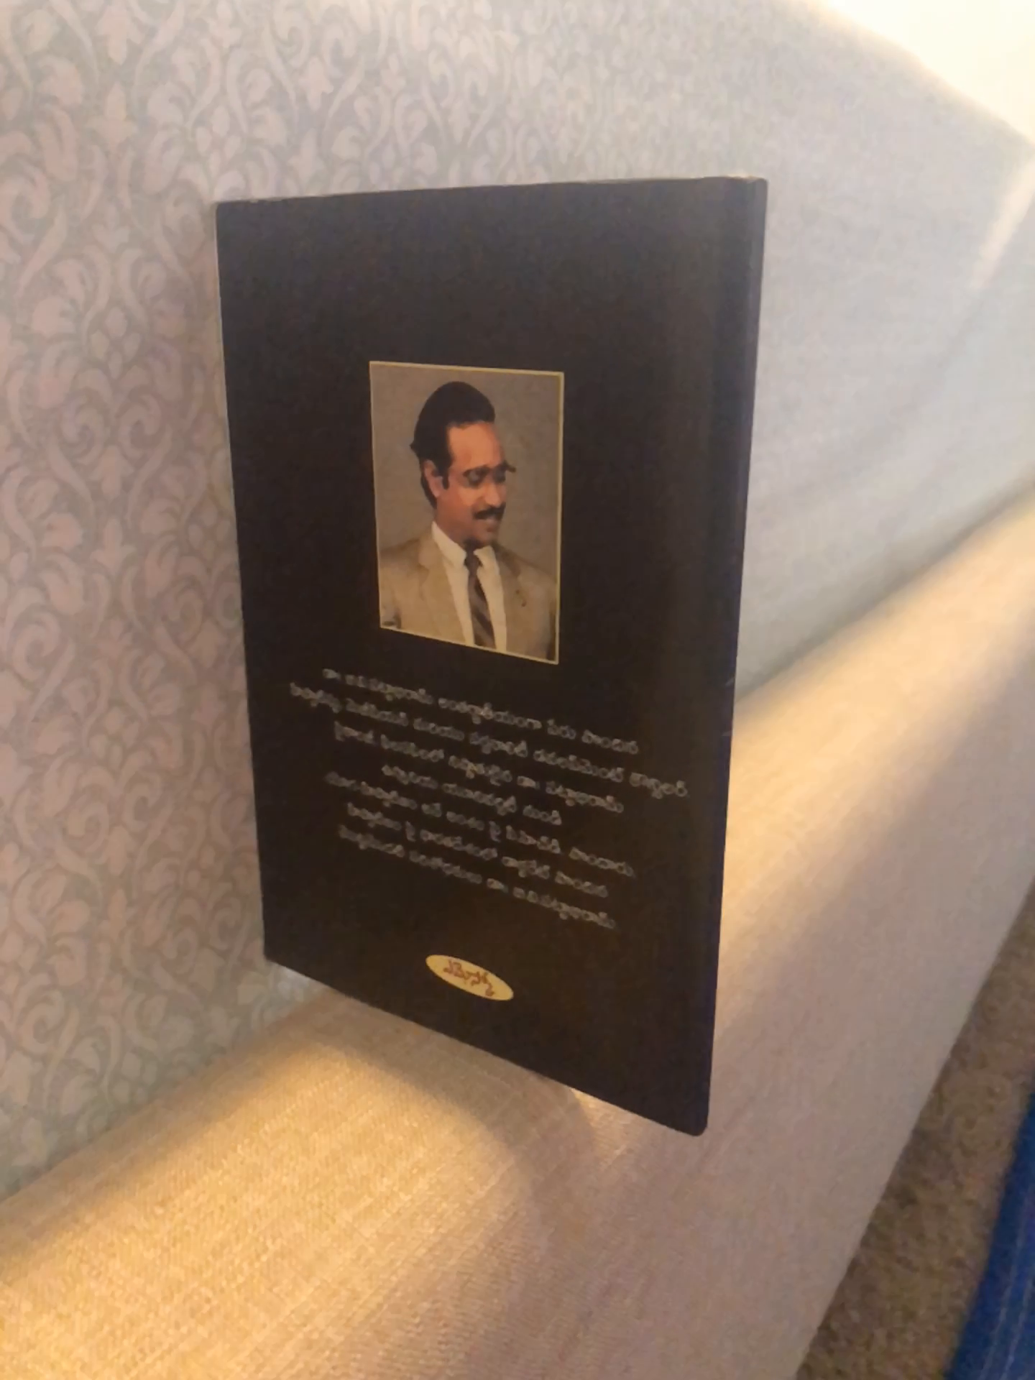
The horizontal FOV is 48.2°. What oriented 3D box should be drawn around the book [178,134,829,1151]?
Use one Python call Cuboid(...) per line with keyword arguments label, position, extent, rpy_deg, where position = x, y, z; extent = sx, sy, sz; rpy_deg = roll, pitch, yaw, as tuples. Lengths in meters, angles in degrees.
Cuboid(label="book", position=(-0.008, -0.007, 0.228), extent=(0.127, 0.175, 0.011), rpy_deg=(9, 20, 30))
